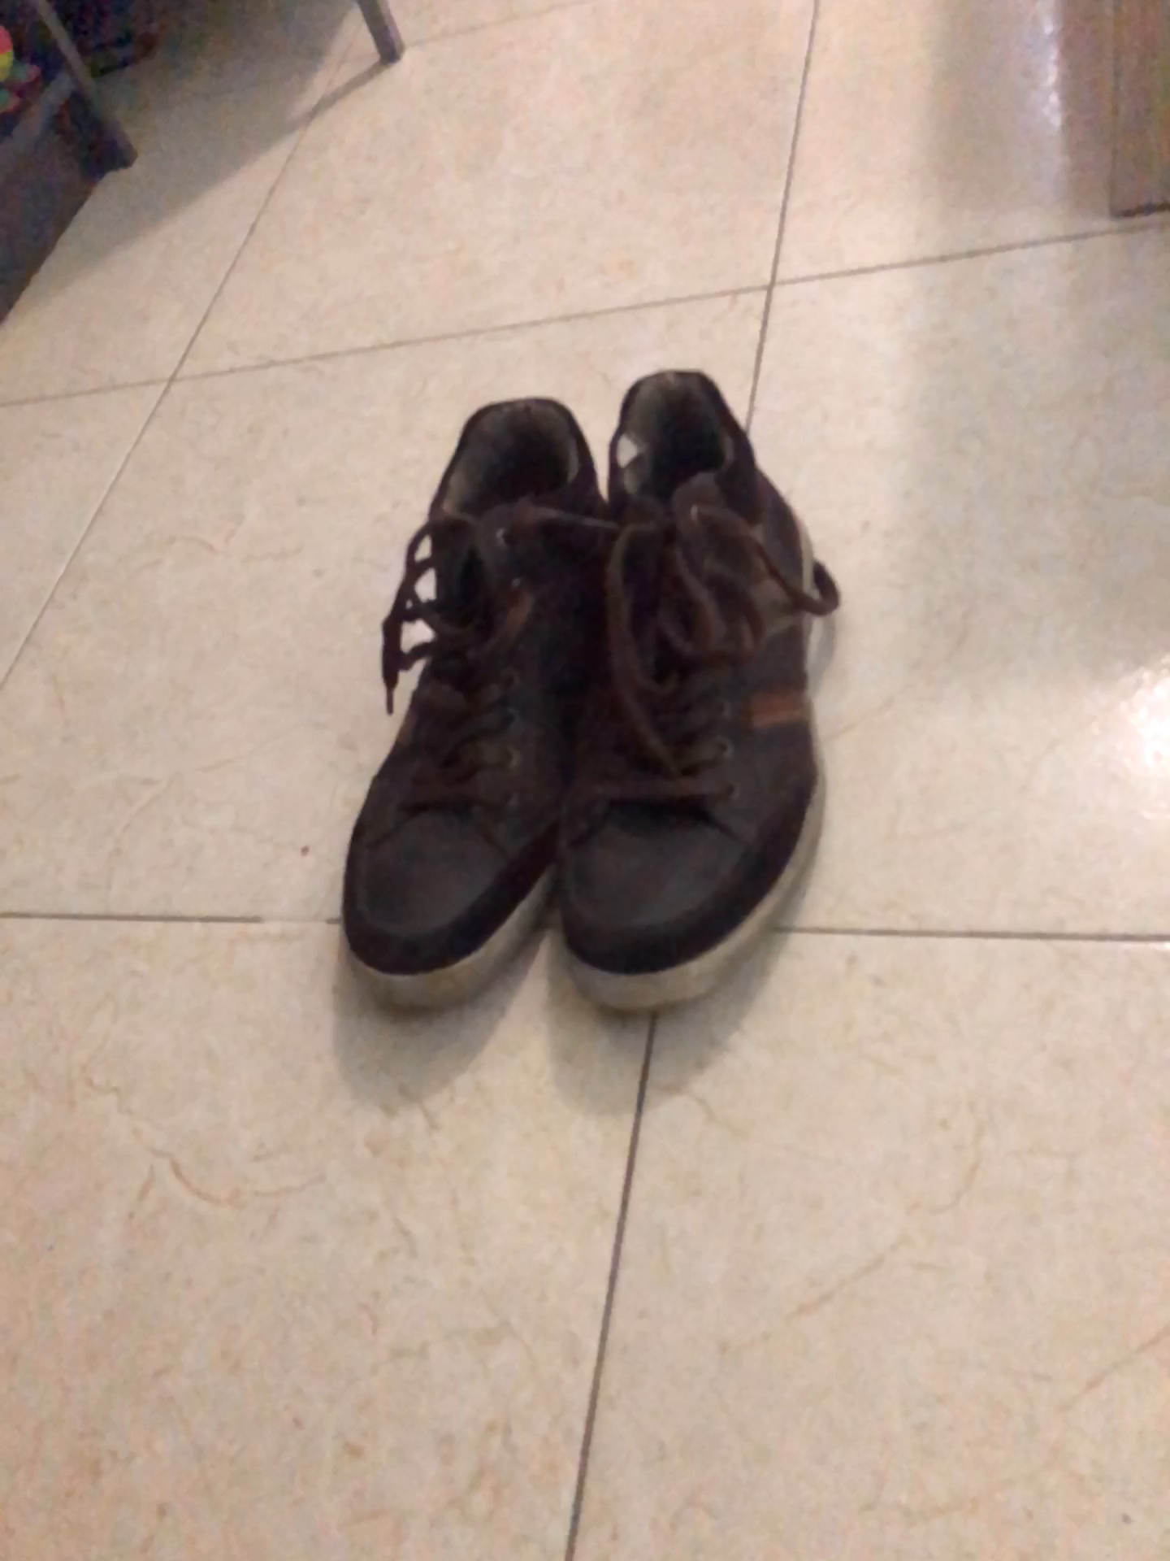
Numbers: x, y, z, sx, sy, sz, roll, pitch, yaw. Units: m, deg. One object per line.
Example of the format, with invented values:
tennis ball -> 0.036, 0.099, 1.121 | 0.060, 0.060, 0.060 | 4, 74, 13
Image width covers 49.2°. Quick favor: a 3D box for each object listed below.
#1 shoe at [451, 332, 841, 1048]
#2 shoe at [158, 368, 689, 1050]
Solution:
shoe -> 0.043, -0.047, 0.560 | 0.120, 0.110, 0.301 | -5, 53, 18
shoe -> -0.055, -0.044, 0.595 | 0.120, 0.110, 0.301 | 3, 56, 23
